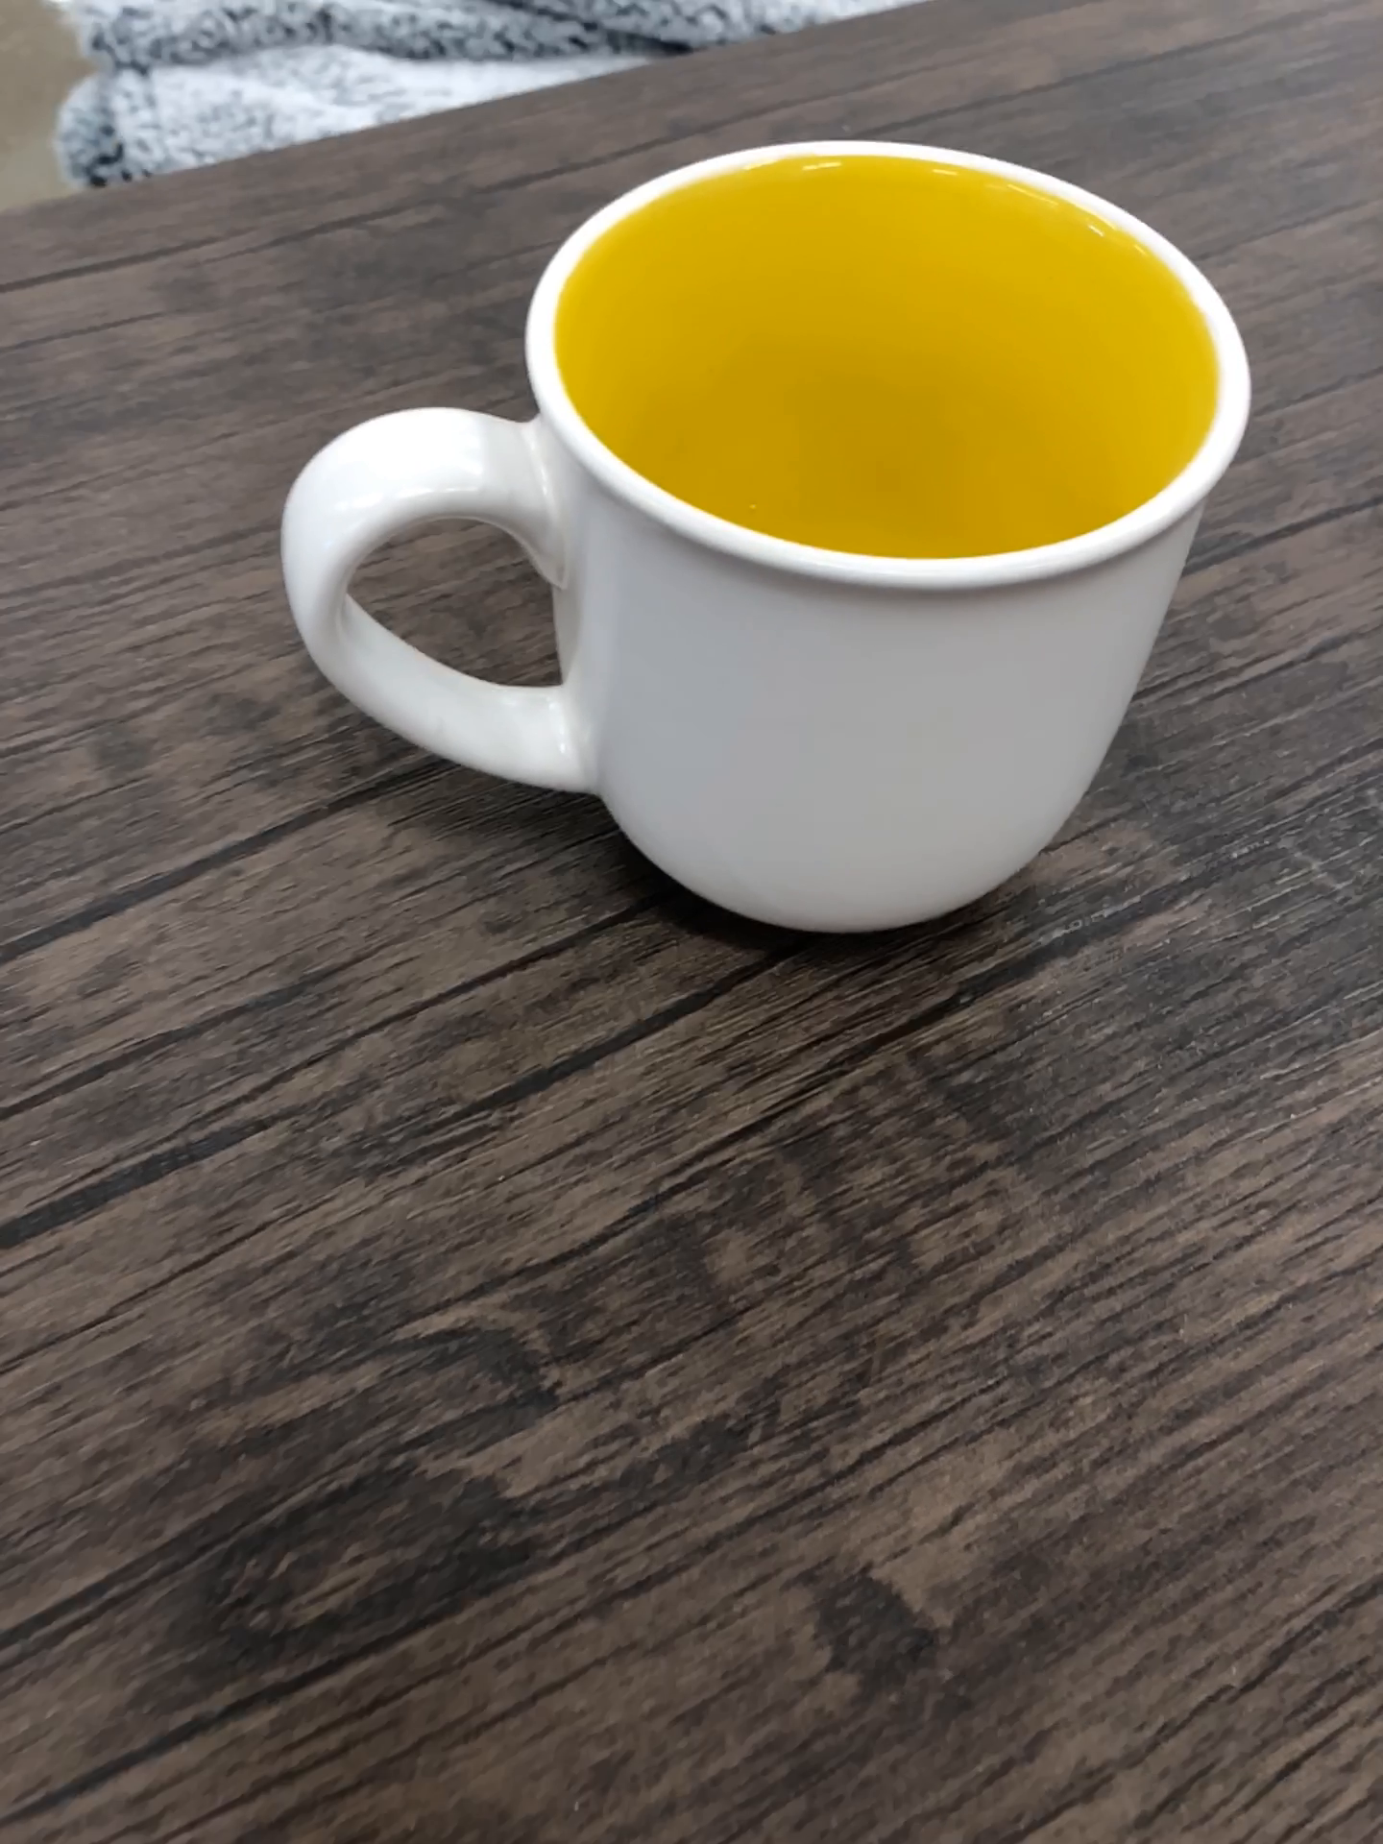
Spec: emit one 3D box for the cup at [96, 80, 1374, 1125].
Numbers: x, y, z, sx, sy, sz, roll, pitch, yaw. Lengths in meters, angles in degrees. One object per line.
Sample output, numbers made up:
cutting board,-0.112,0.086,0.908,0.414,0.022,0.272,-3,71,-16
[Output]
cup,-0.002,-0.051,0.234,0.140,0.090,0.100,-13,56,-12
